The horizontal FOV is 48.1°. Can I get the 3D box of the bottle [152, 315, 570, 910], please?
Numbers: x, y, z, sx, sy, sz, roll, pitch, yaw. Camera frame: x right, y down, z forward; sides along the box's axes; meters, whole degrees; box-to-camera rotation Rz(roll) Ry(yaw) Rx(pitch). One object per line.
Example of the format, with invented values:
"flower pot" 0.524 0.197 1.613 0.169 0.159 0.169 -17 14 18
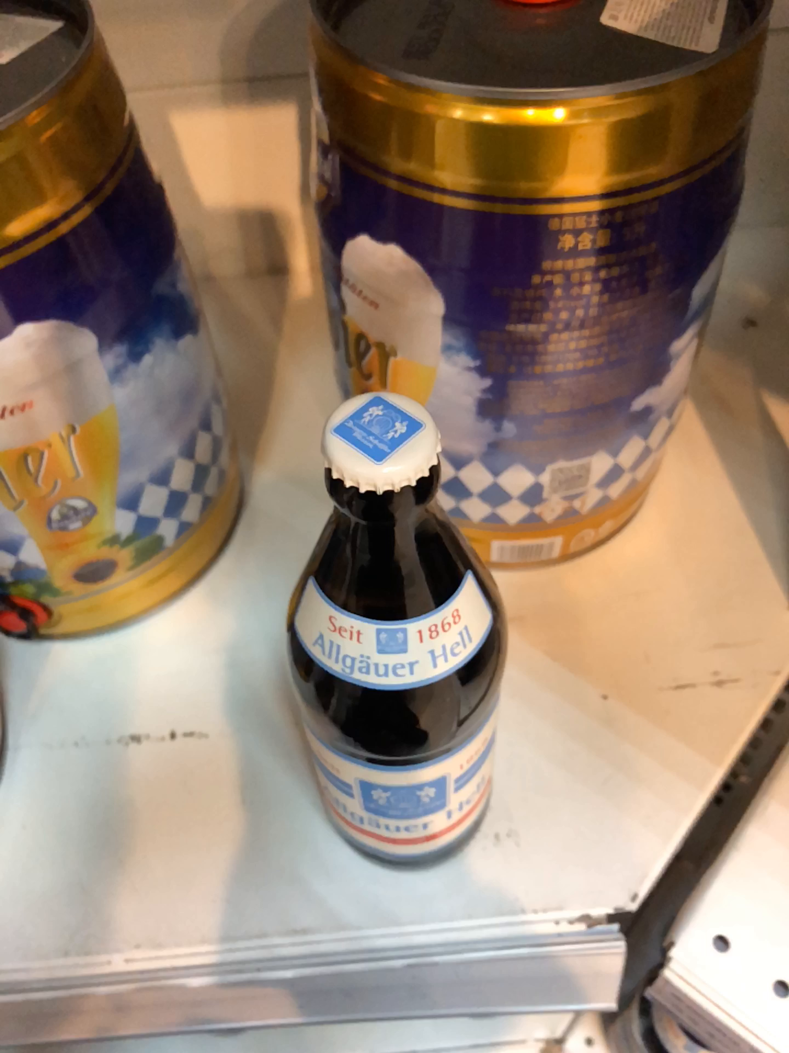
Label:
"bottle" -0.002 0.049 0.280 0.080 0.219 0.080 -2 53 3
